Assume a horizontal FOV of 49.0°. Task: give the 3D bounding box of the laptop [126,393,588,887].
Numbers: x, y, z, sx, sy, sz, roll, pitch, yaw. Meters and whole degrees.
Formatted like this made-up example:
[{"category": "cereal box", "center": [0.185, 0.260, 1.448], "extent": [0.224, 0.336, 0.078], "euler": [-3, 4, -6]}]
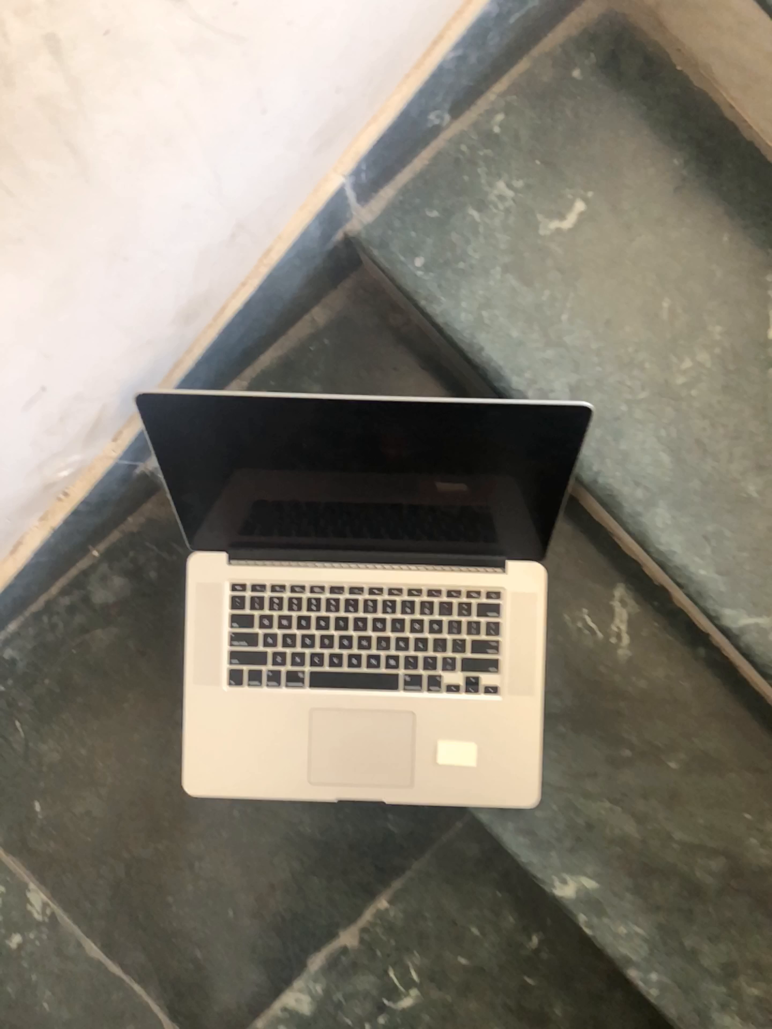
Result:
[{"category": "laptop", "center": [-0.024, 0.092, 0.739], "extent": [0.341, 0.195, 0.363], "euler": [2, 91, 1]}]
